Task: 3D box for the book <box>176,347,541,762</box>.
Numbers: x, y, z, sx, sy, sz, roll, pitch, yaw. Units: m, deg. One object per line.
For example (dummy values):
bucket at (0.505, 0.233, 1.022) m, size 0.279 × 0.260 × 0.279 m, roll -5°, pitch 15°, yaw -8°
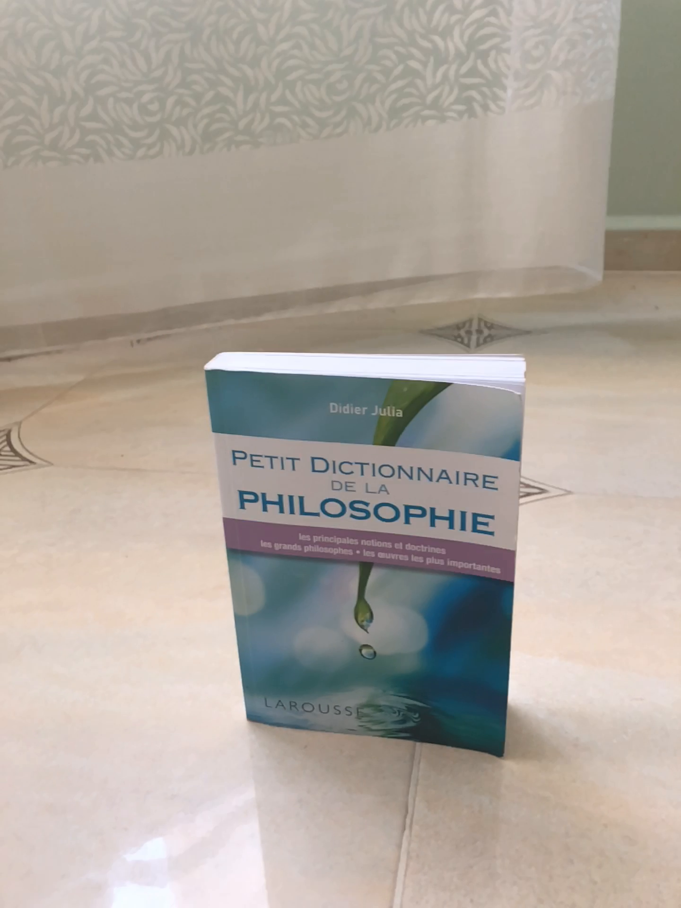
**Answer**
book at (0.012, 0.048, 0.338) m, size 0.140 × 0.185 × 0.035 m, roll 3°, pitch 27°, yaw 13°
